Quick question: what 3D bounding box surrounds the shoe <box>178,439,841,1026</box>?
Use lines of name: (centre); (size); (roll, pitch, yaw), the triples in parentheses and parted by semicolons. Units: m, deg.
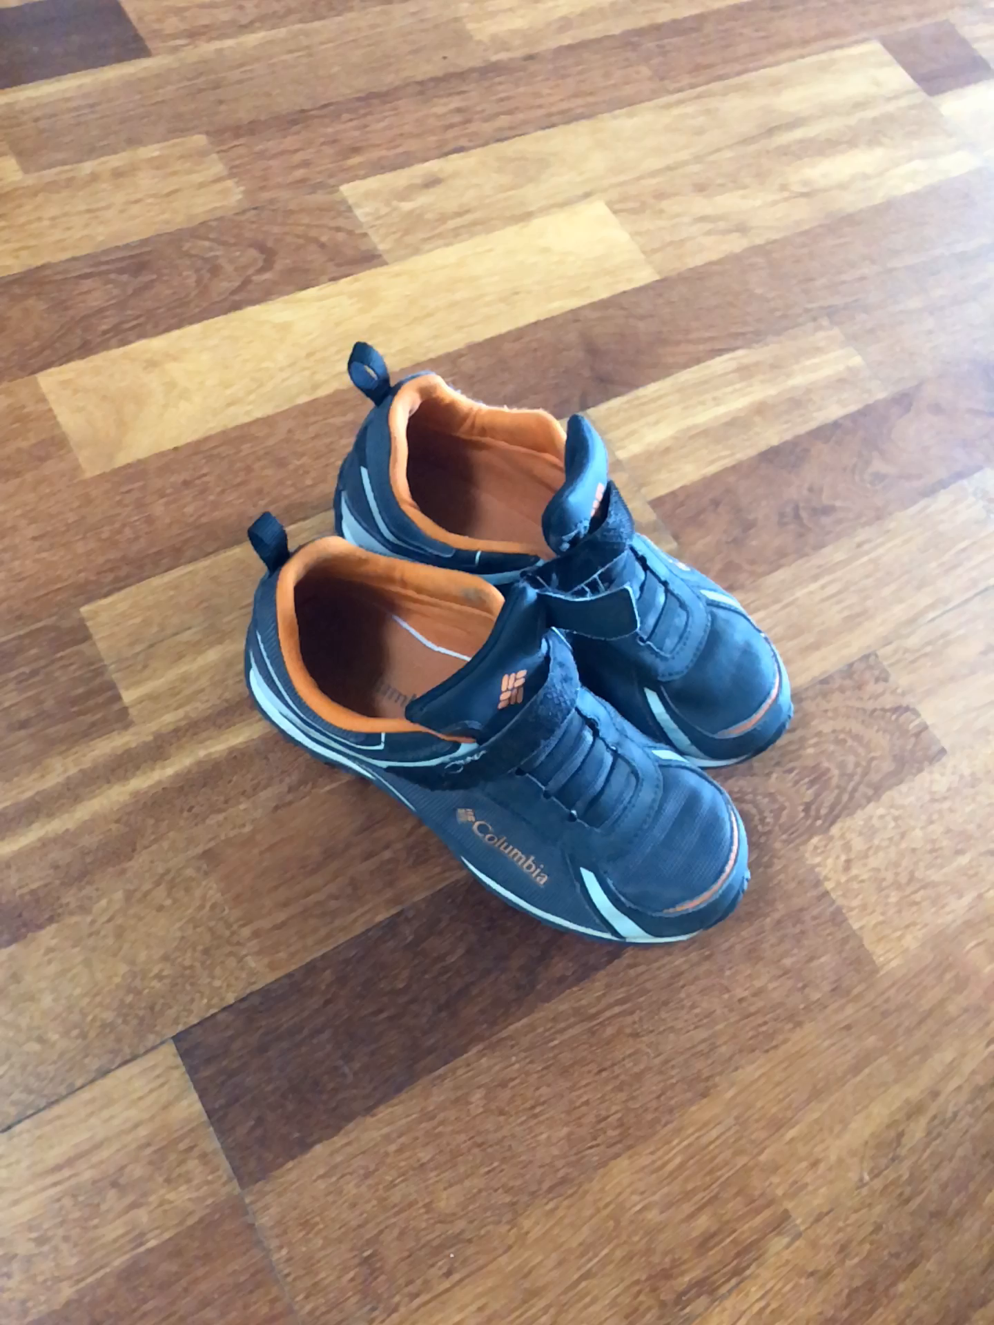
shoe: (-0.002, 0.033, 0.467); (0.247, 0.102, 0.097); (35, 64, 6)

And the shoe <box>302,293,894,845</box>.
shoe: (0.039, -0.042, 0.551); (0.252, 0.127, 0.112); (35, 64, 6)
